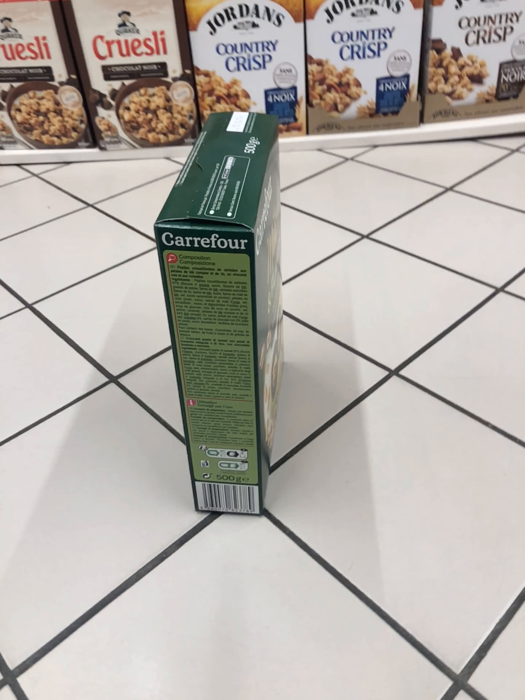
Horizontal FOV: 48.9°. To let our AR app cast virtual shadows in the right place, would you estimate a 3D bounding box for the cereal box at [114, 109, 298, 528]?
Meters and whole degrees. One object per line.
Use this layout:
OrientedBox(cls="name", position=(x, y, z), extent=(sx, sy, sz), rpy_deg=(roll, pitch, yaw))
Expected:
OrientedBox(cls="cereal box", position=(-0.021, -0.026, 0.447), extent=(0.080, 0.248, 0.201), rpy_deg=(3, 39, 6))
